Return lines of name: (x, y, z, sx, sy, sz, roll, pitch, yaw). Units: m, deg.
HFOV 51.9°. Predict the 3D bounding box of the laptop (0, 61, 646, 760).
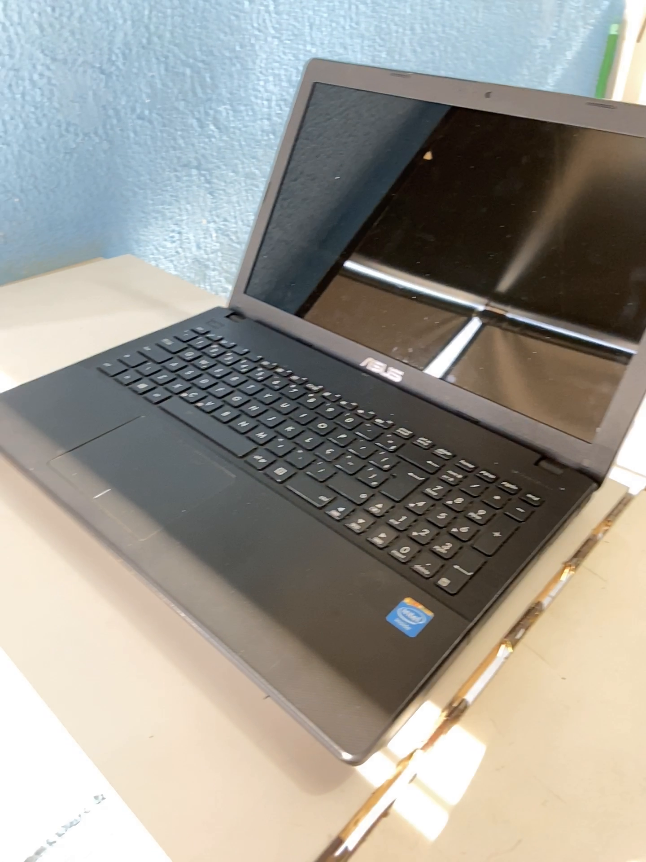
laptop: (-0.001, -0.097, 0.428, 0.368, 0.200, 0.362, 28, 43, 34)
